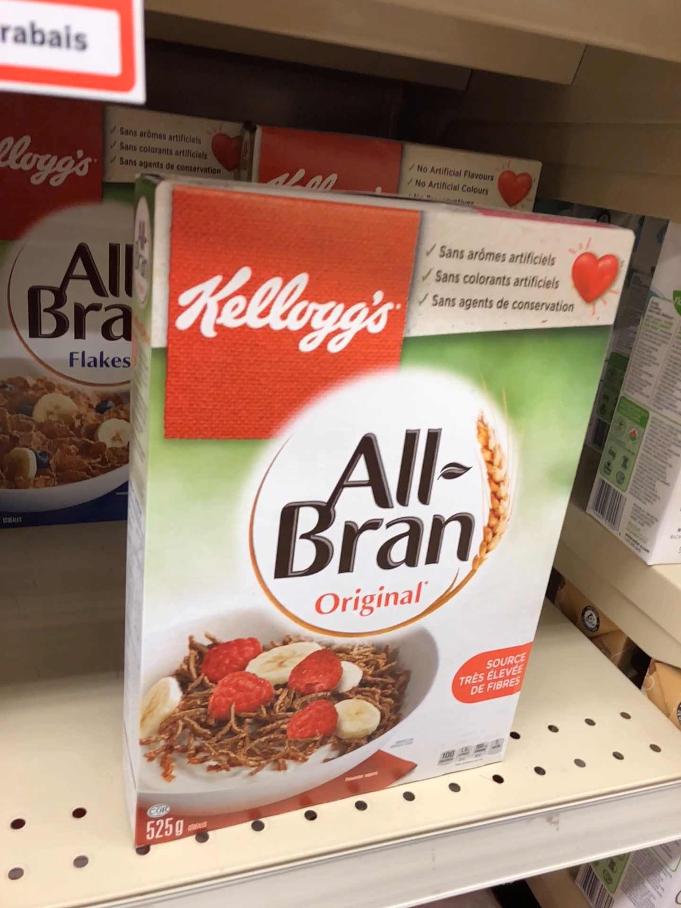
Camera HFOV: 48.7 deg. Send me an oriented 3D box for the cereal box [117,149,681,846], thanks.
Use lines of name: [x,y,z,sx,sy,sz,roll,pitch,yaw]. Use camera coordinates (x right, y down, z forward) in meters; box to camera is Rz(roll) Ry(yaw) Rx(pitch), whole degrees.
cereal box: [0.016,0.022,0.291,0.190,0.238,0.050,-2,24,-23]
